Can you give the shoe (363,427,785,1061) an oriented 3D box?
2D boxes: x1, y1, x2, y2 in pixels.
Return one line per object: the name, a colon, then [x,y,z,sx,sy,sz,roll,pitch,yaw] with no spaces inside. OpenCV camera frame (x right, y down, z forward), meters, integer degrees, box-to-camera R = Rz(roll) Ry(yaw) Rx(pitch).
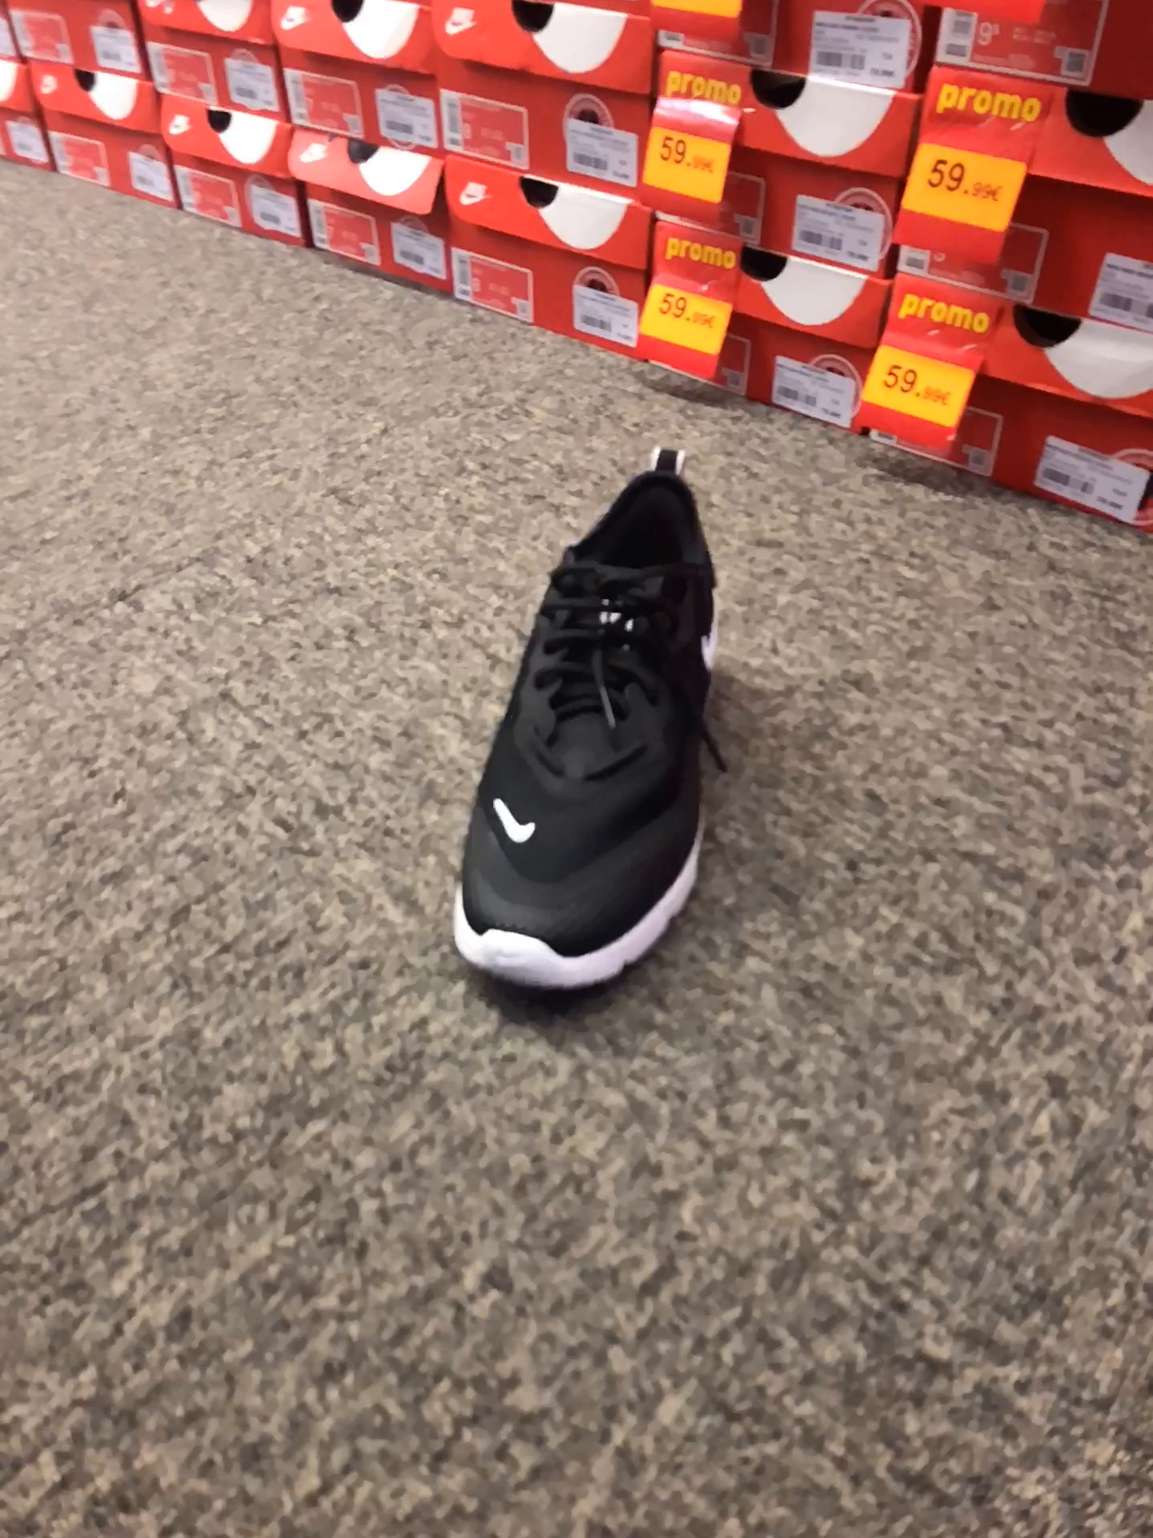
shoe: [0.014,-0.027,0.519,0.100,0.109,0.258,9,43,11]
